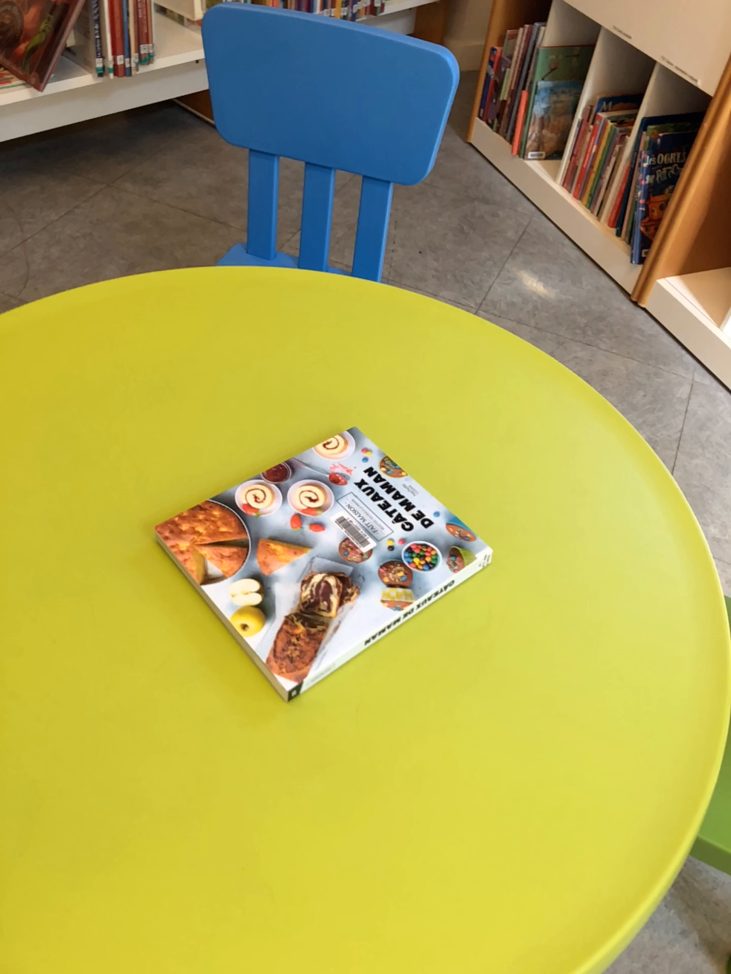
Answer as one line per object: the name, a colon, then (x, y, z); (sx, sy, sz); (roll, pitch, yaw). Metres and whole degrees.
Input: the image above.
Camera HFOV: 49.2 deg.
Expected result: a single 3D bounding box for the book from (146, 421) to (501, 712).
book: (-0.035, 0.051, 0.688); (0.229, 0.021, 0.200); (-28, 57, -30)
